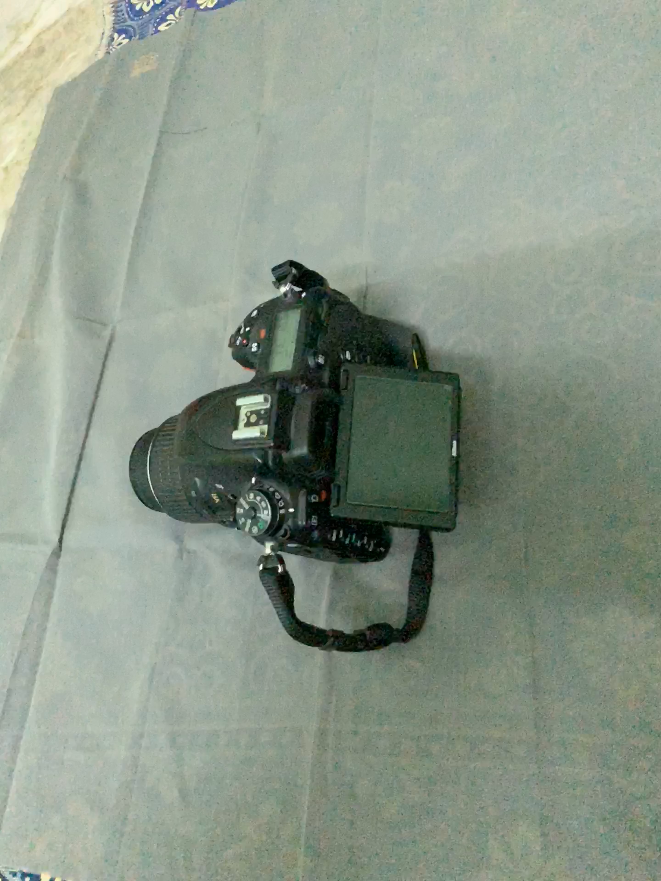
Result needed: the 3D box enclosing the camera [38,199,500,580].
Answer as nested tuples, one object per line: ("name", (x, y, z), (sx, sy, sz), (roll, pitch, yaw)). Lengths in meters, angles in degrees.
("camera", (-0.030, -0.016, 0.400), (0.230, 0.100, 0.165), (-7, 63, 24))
